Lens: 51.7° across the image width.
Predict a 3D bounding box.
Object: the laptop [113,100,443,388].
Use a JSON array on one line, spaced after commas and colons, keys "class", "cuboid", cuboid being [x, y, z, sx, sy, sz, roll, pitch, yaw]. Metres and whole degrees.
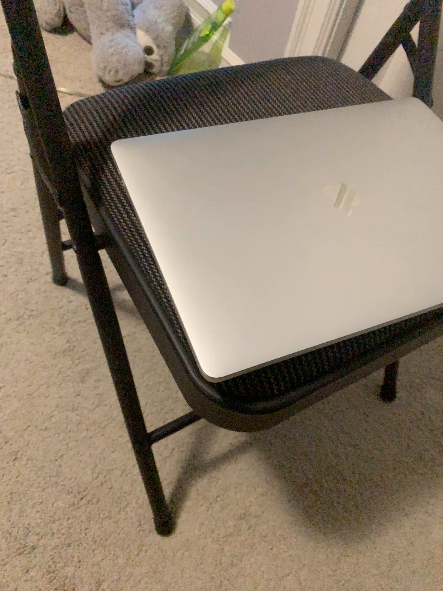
[{"class": "laptop", "cuboid": [0.104, -0.076, 0.387, 0.333, 0.001, 0.224, -16, 62, -19]}]
